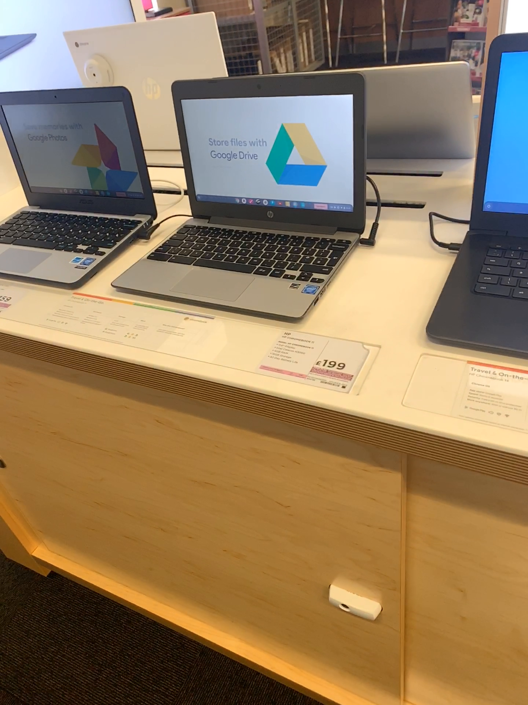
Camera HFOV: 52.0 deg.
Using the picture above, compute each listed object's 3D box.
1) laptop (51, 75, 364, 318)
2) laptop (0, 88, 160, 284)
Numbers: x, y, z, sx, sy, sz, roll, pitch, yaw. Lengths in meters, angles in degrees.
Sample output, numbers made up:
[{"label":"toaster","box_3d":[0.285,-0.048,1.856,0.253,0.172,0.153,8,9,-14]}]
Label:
[{"label":"laptop","box_3d":[-0.050,-0.205,0.671,0.278,0.185,0.229,11,43,26]},{"label":"laptop","box_3d":[-0.357,-0.260,0.813,0.287,0.179,0.222,11,44,25]}]
